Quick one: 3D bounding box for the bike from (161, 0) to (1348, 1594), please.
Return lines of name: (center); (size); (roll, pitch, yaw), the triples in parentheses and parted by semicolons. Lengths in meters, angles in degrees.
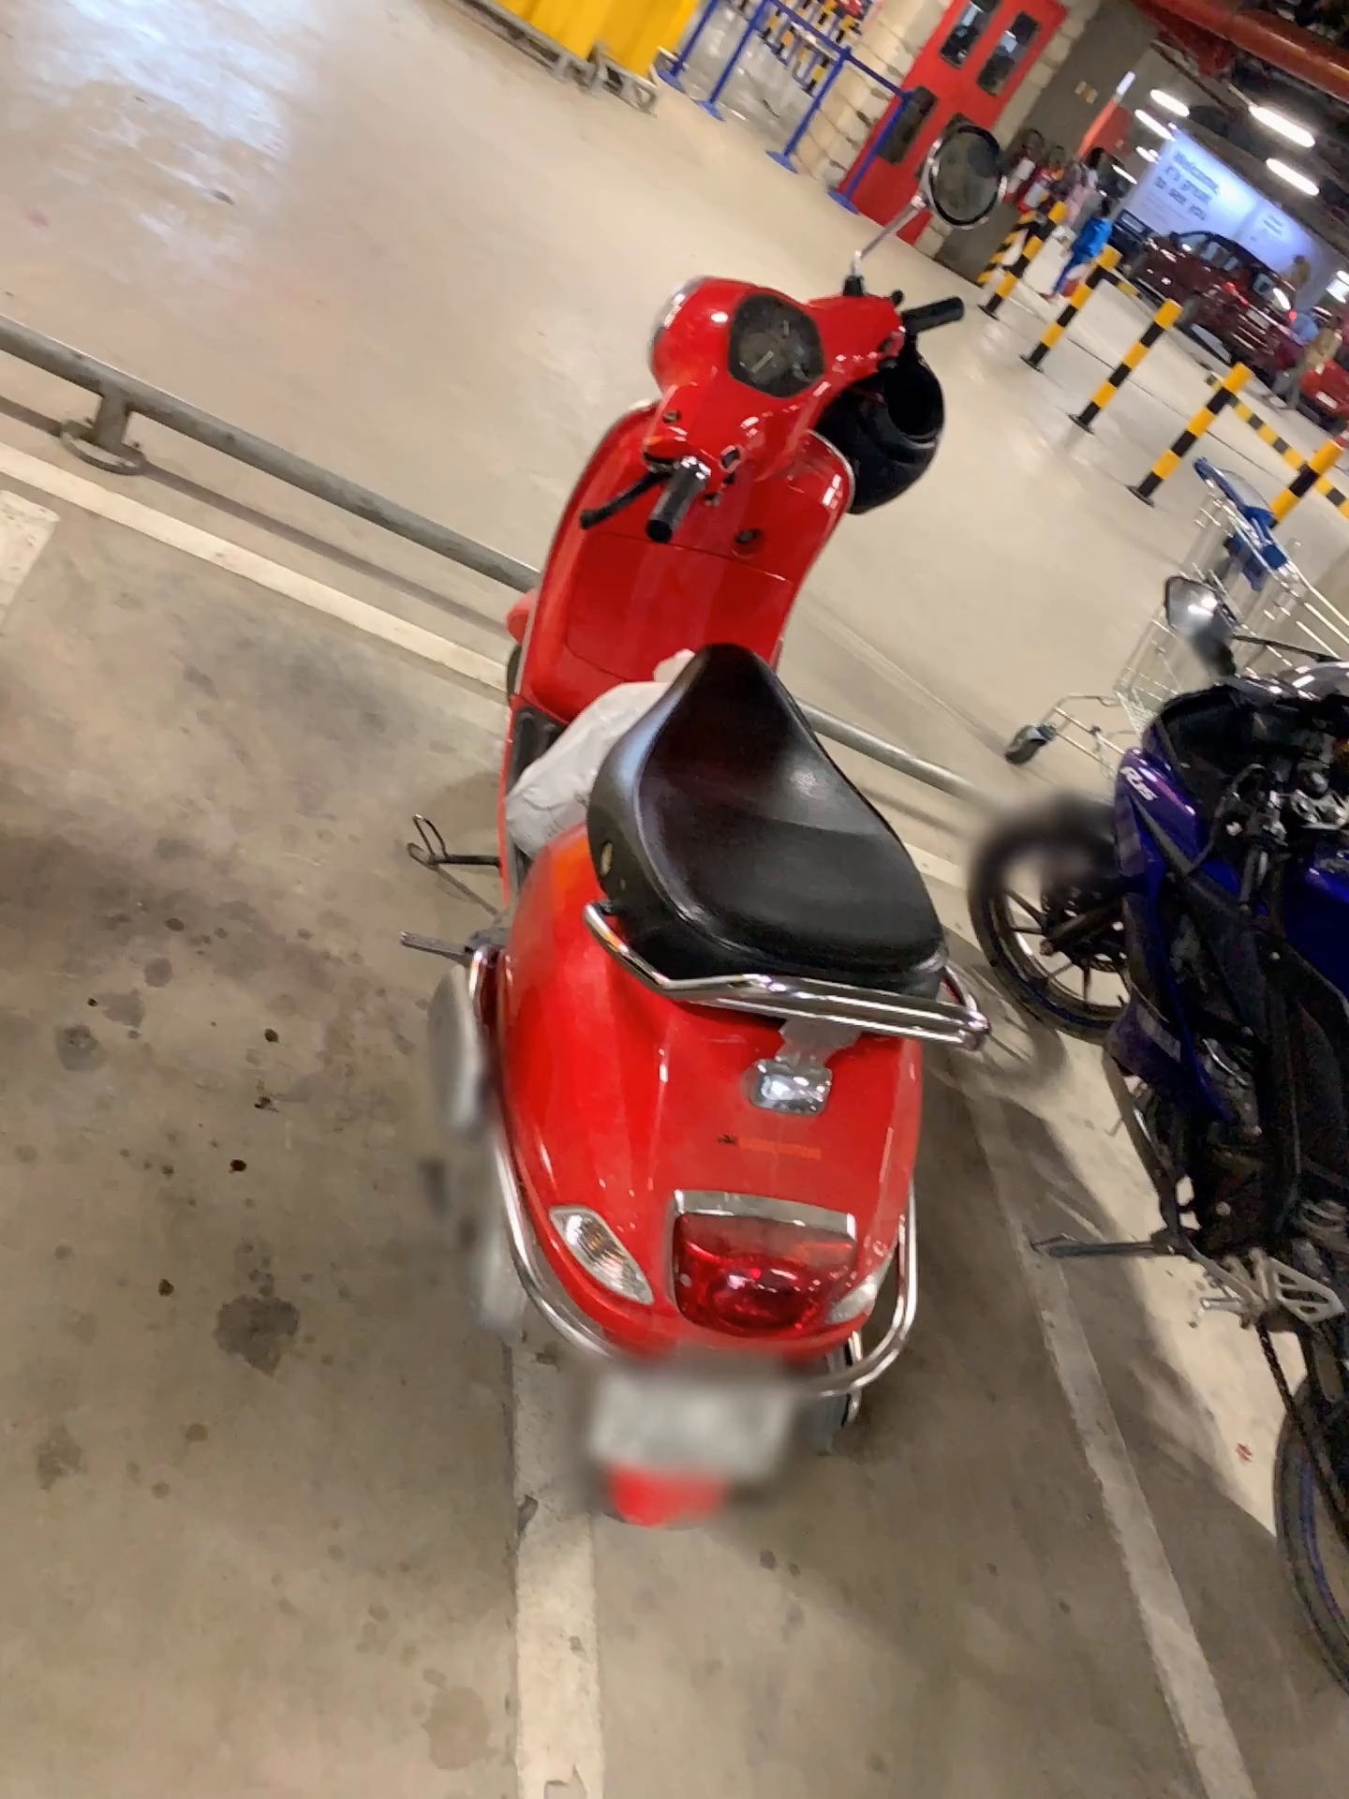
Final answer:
bike: (-0.107, -0.232, 1.819); (0.633, 1.201, 1.685); (18, 36, -28)
